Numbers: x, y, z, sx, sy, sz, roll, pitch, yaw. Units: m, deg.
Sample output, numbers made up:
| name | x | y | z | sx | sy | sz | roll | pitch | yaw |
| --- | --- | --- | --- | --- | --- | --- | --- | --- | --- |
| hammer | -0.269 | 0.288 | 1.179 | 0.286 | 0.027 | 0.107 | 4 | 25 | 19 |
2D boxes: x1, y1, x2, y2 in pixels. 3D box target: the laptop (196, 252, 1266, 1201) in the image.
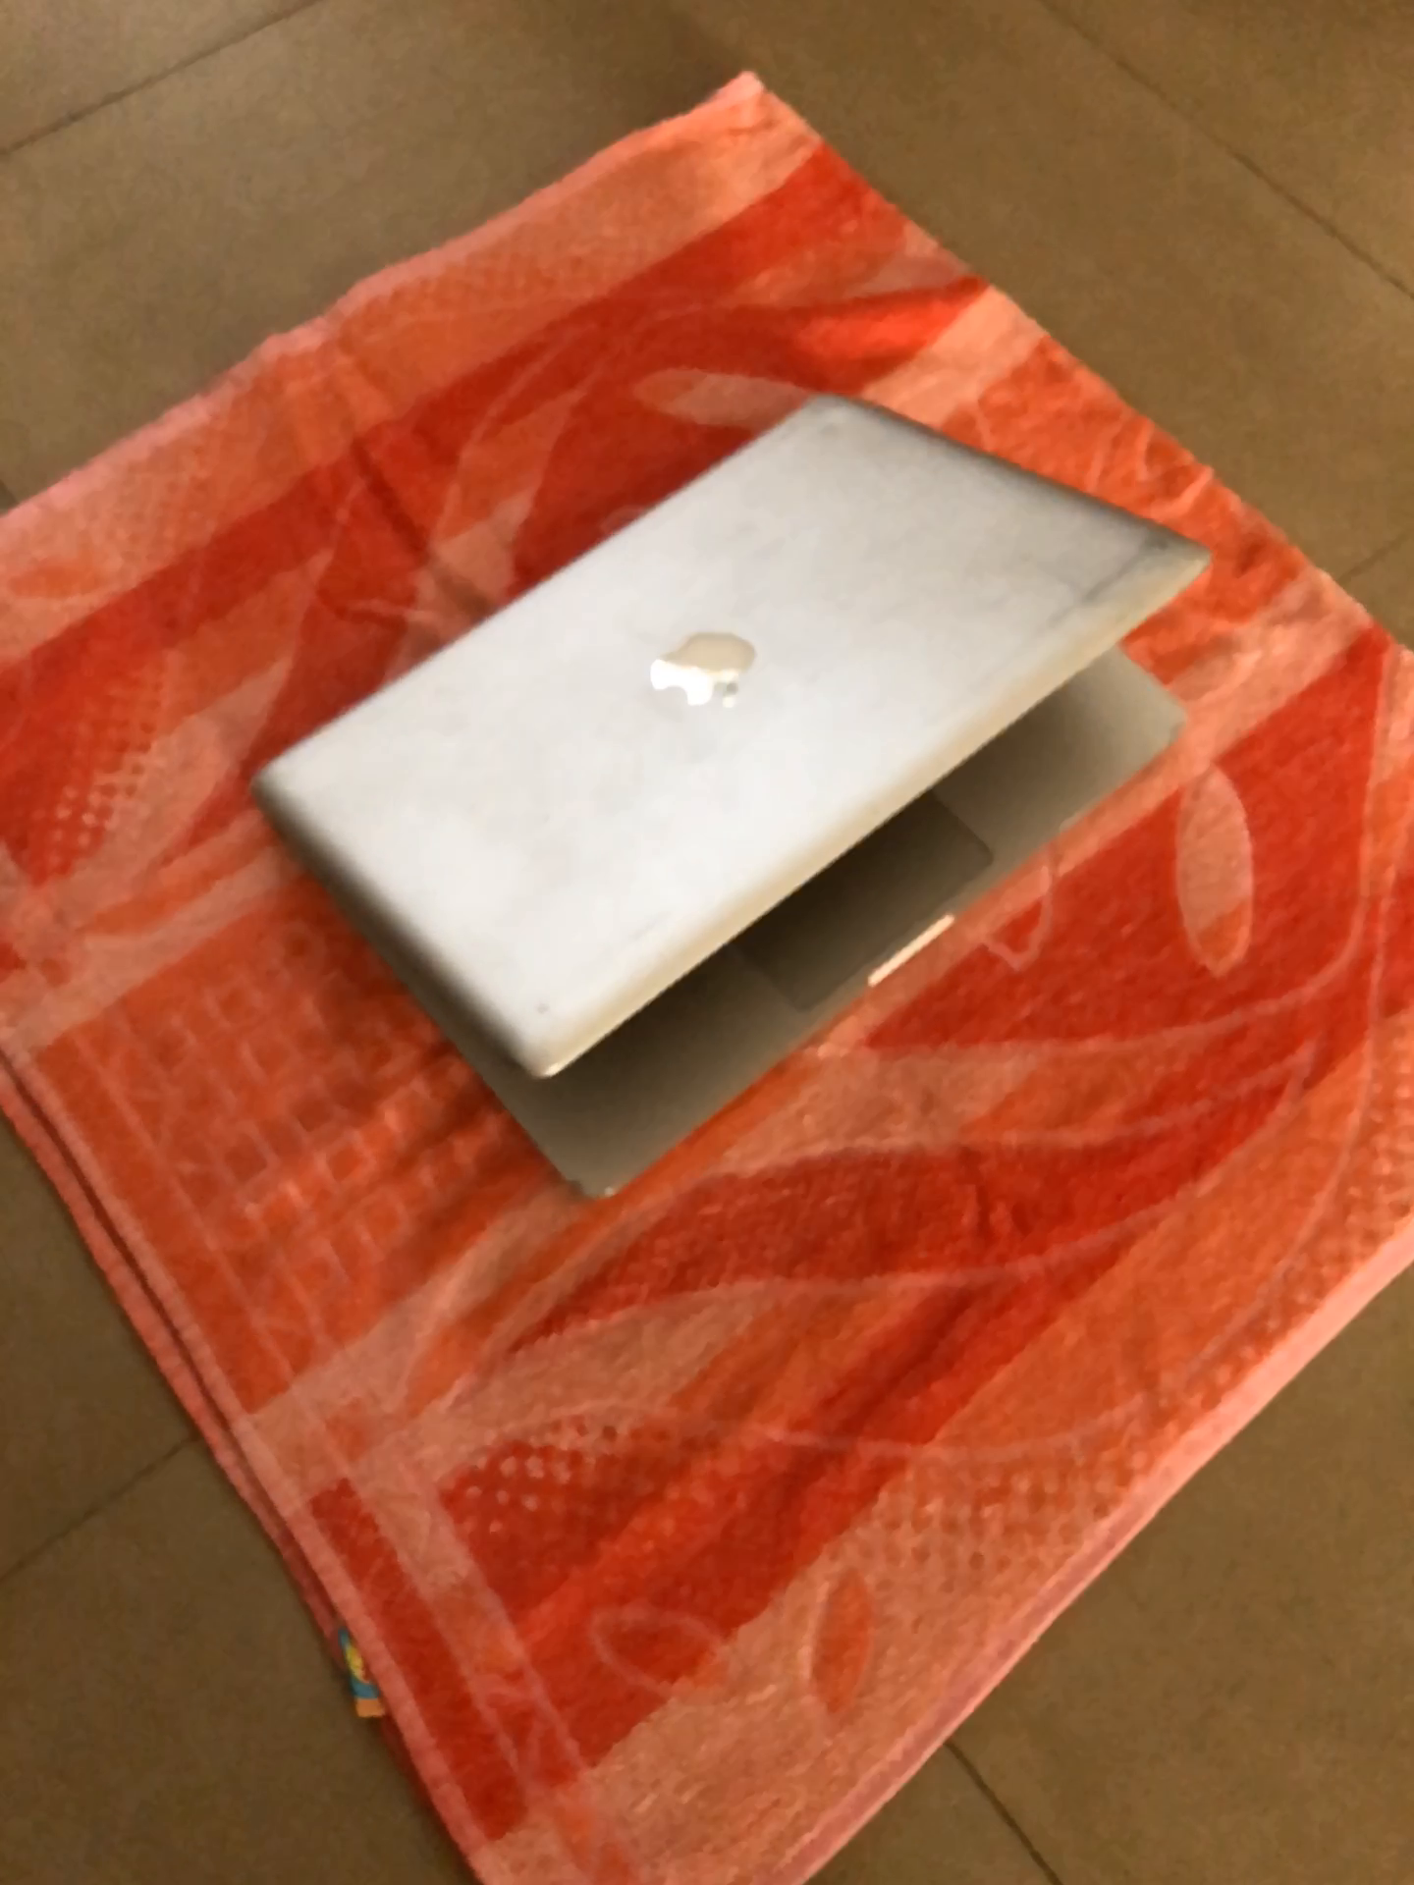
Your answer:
| name | x | y | z | sx | sy | sz | roll | pitch | yaw |
| --- | --- | --- | --- | --- | --- | --- | --- | --- | --- |
| laptop | 0.011 | -0.094 | 0.599 | 0.311 | 0.087 | 0.223 | -37 | 71 | -16 |
